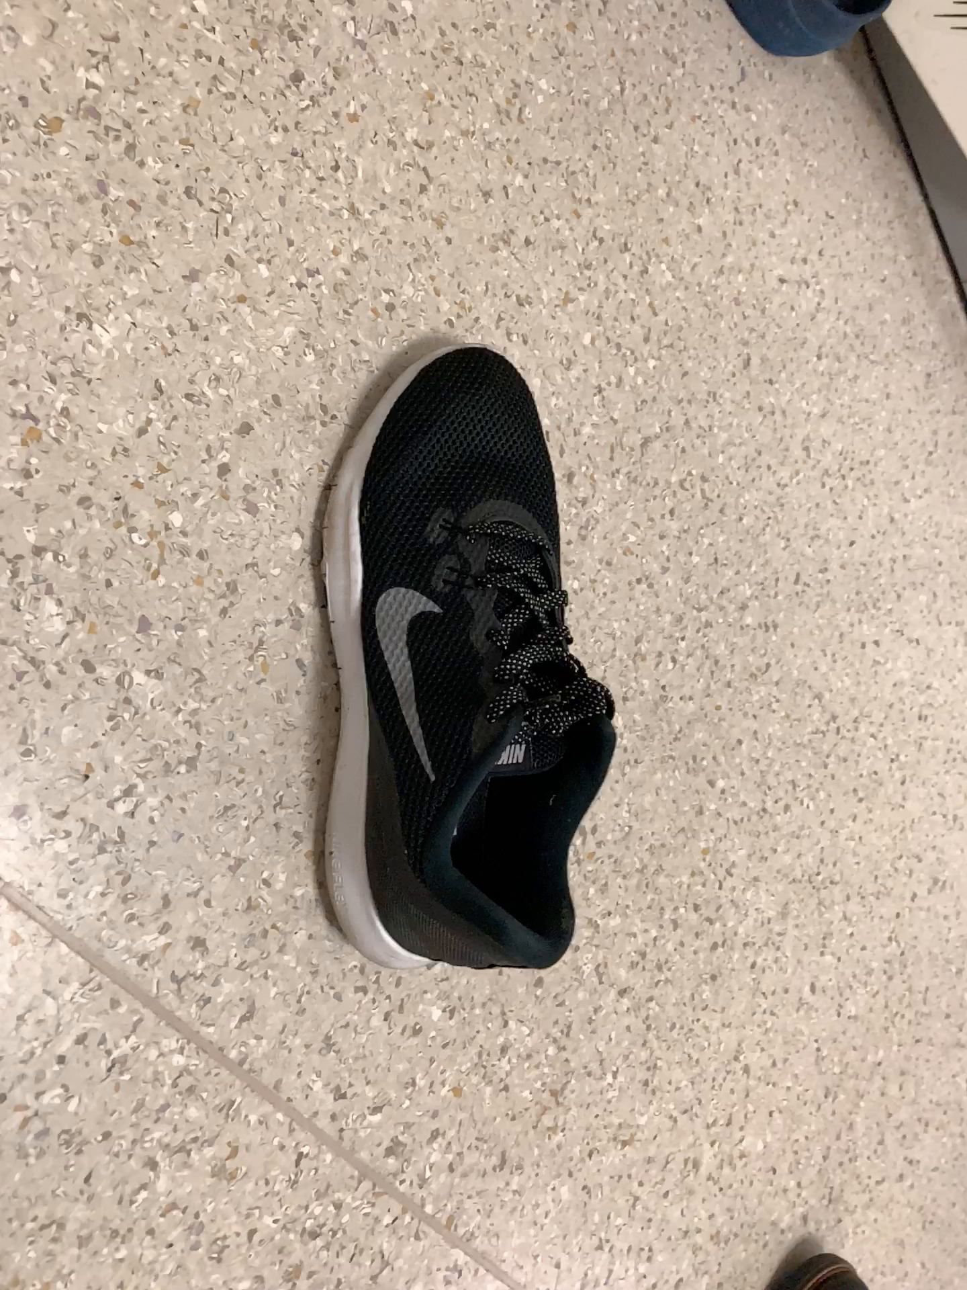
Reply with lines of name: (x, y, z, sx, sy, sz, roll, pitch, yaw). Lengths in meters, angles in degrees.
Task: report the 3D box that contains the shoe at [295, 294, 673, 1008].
shoe: (0.002, 0.004, 0.421, 0.114, 0.093, 0.252, 6, 85, -40)
